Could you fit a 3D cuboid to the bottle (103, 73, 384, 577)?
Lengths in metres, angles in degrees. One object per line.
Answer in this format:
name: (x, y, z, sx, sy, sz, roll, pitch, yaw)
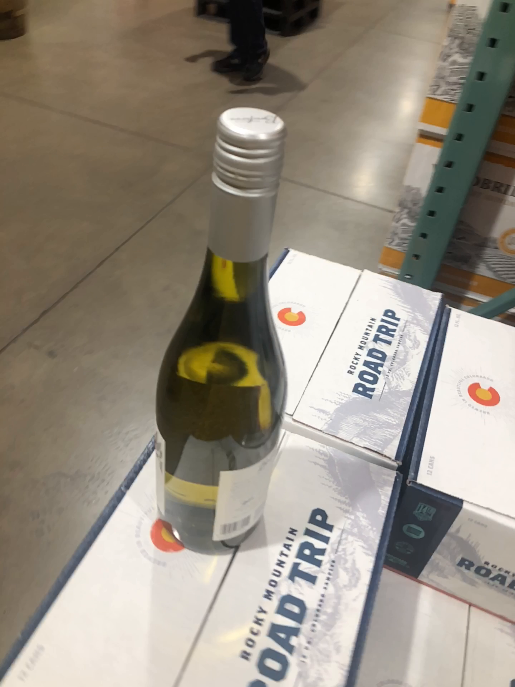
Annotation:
bottle: (-0.018, 0.011, 0.333, 0.083, 0.284, 0.090, 5, 42, -4)
